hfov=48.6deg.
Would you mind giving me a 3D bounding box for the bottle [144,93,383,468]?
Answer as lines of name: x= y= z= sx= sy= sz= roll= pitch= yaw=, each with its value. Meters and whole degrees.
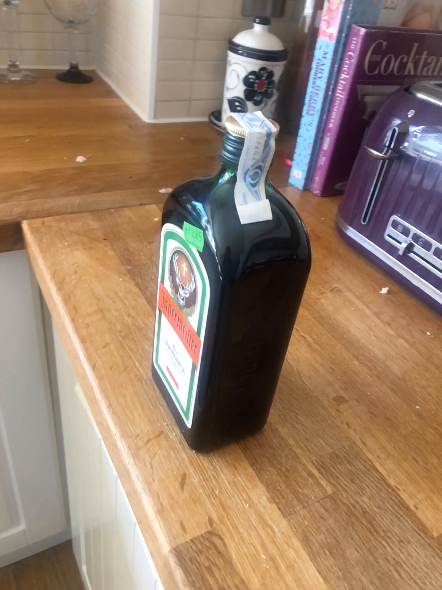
bottle: x=0.008 y=-0.005 z=0.323 sx=0.080 sy=0.218 sz=0.101 roll=-11 pitch=41 yaw=-26
